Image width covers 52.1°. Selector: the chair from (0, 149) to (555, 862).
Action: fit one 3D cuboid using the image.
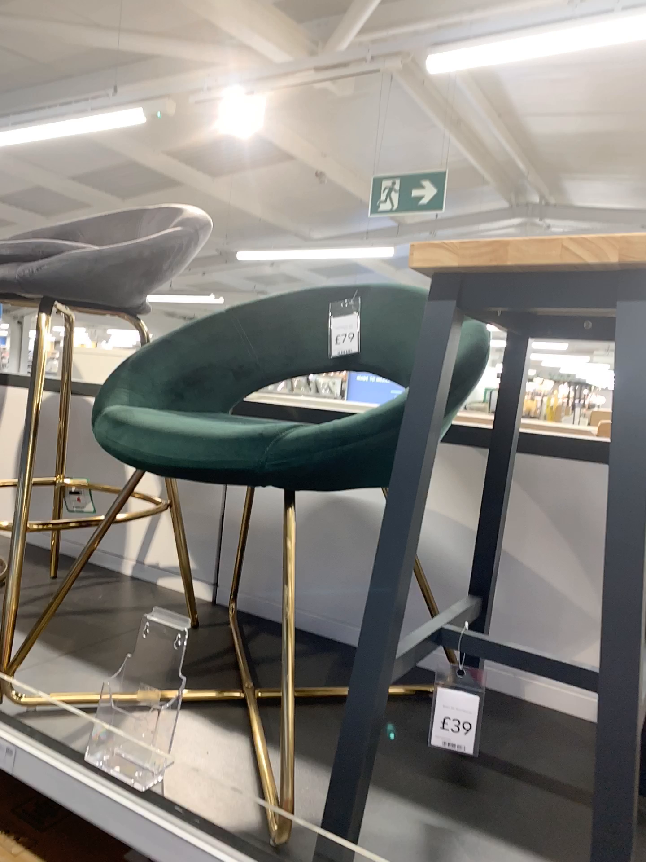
[{"bbox_3d":[-0.065,0.050,1.076,0.634,0.700,0.669,7,3,32],"label":"chair"}]
